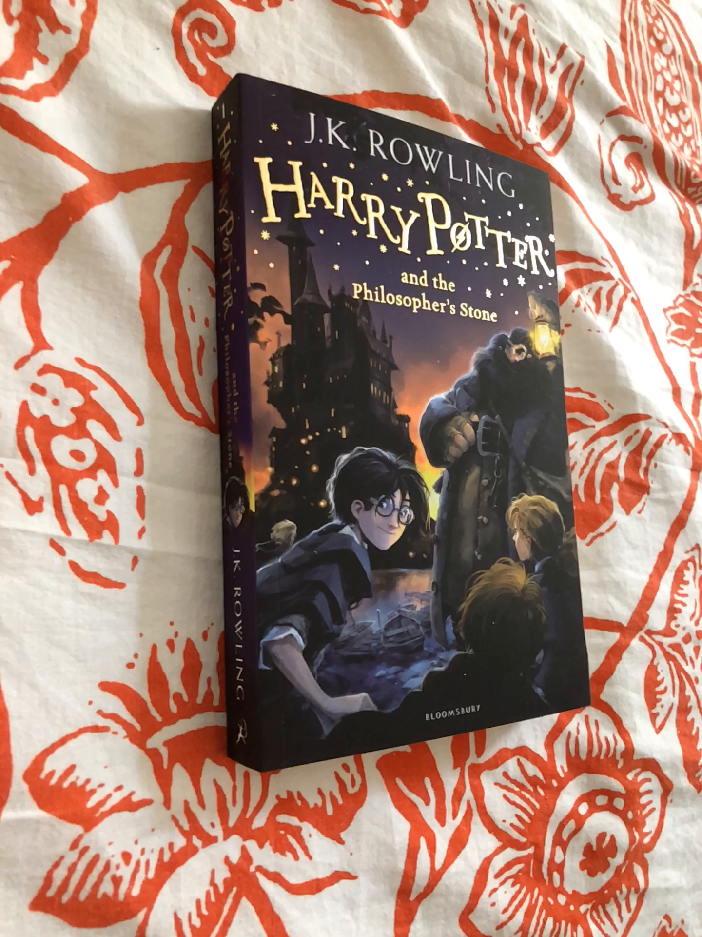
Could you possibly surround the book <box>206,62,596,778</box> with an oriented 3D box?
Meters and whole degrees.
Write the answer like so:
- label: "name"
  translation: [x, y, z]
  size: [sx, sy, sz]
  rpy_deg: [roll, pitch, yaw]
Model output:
- label: "book"
  translation: [0.020, -0.014, 0.247]
  size: [0.127, 0.020, 0.189]
  rpy_deg: [2, 83, -33]
